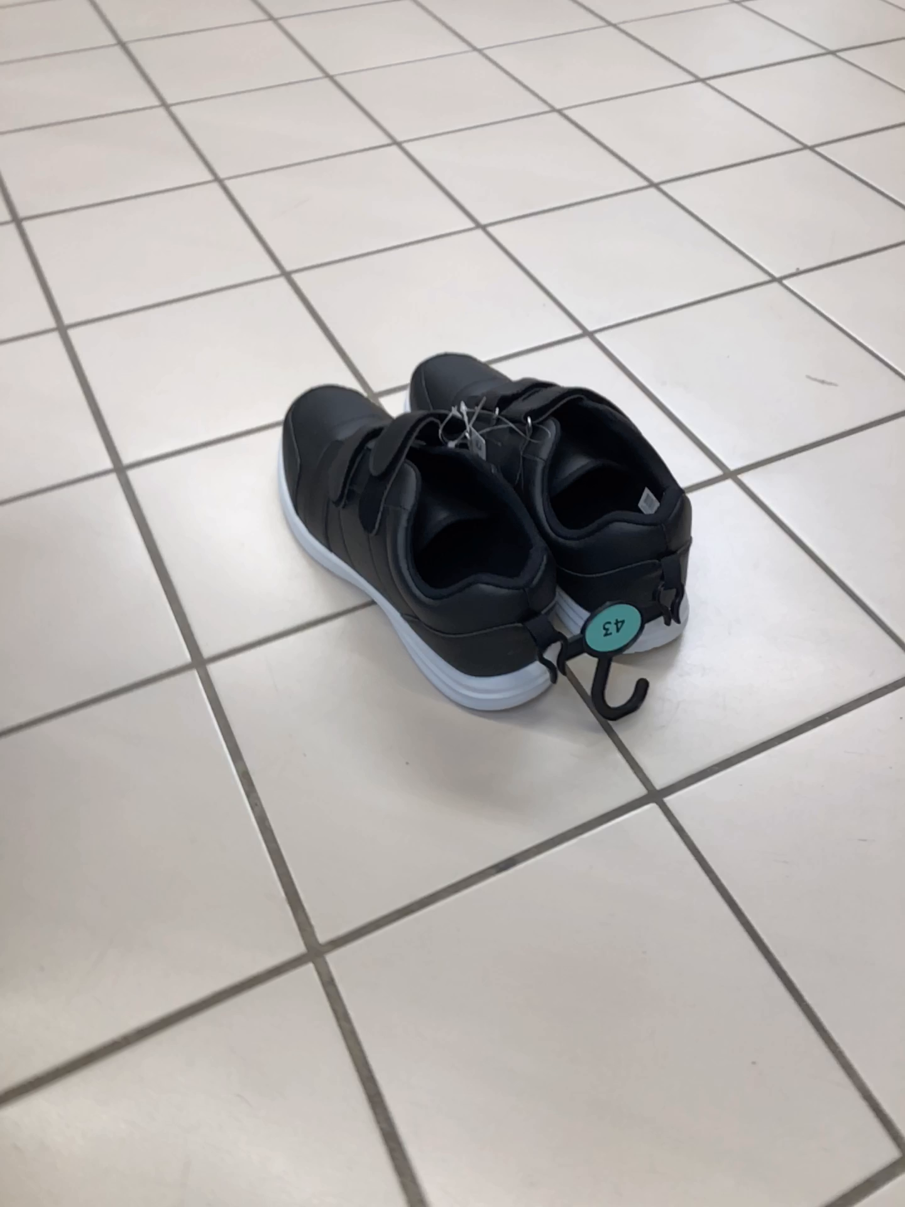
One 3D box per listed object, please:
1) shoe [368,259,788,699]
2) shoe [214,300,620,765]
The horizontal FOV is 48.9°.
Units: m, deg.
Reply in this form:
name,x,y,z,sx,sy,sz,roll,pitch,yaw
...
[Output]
name,x,y,z,sx,sy,sz,roll,pitch,yaw
shoe,0.062,-0.097,0.650,0.100,0.099,0.311,-23,52,-19
shoe,-0.036,-0.061,0.629,0.100,0.099,0.311,-24,53,-21
